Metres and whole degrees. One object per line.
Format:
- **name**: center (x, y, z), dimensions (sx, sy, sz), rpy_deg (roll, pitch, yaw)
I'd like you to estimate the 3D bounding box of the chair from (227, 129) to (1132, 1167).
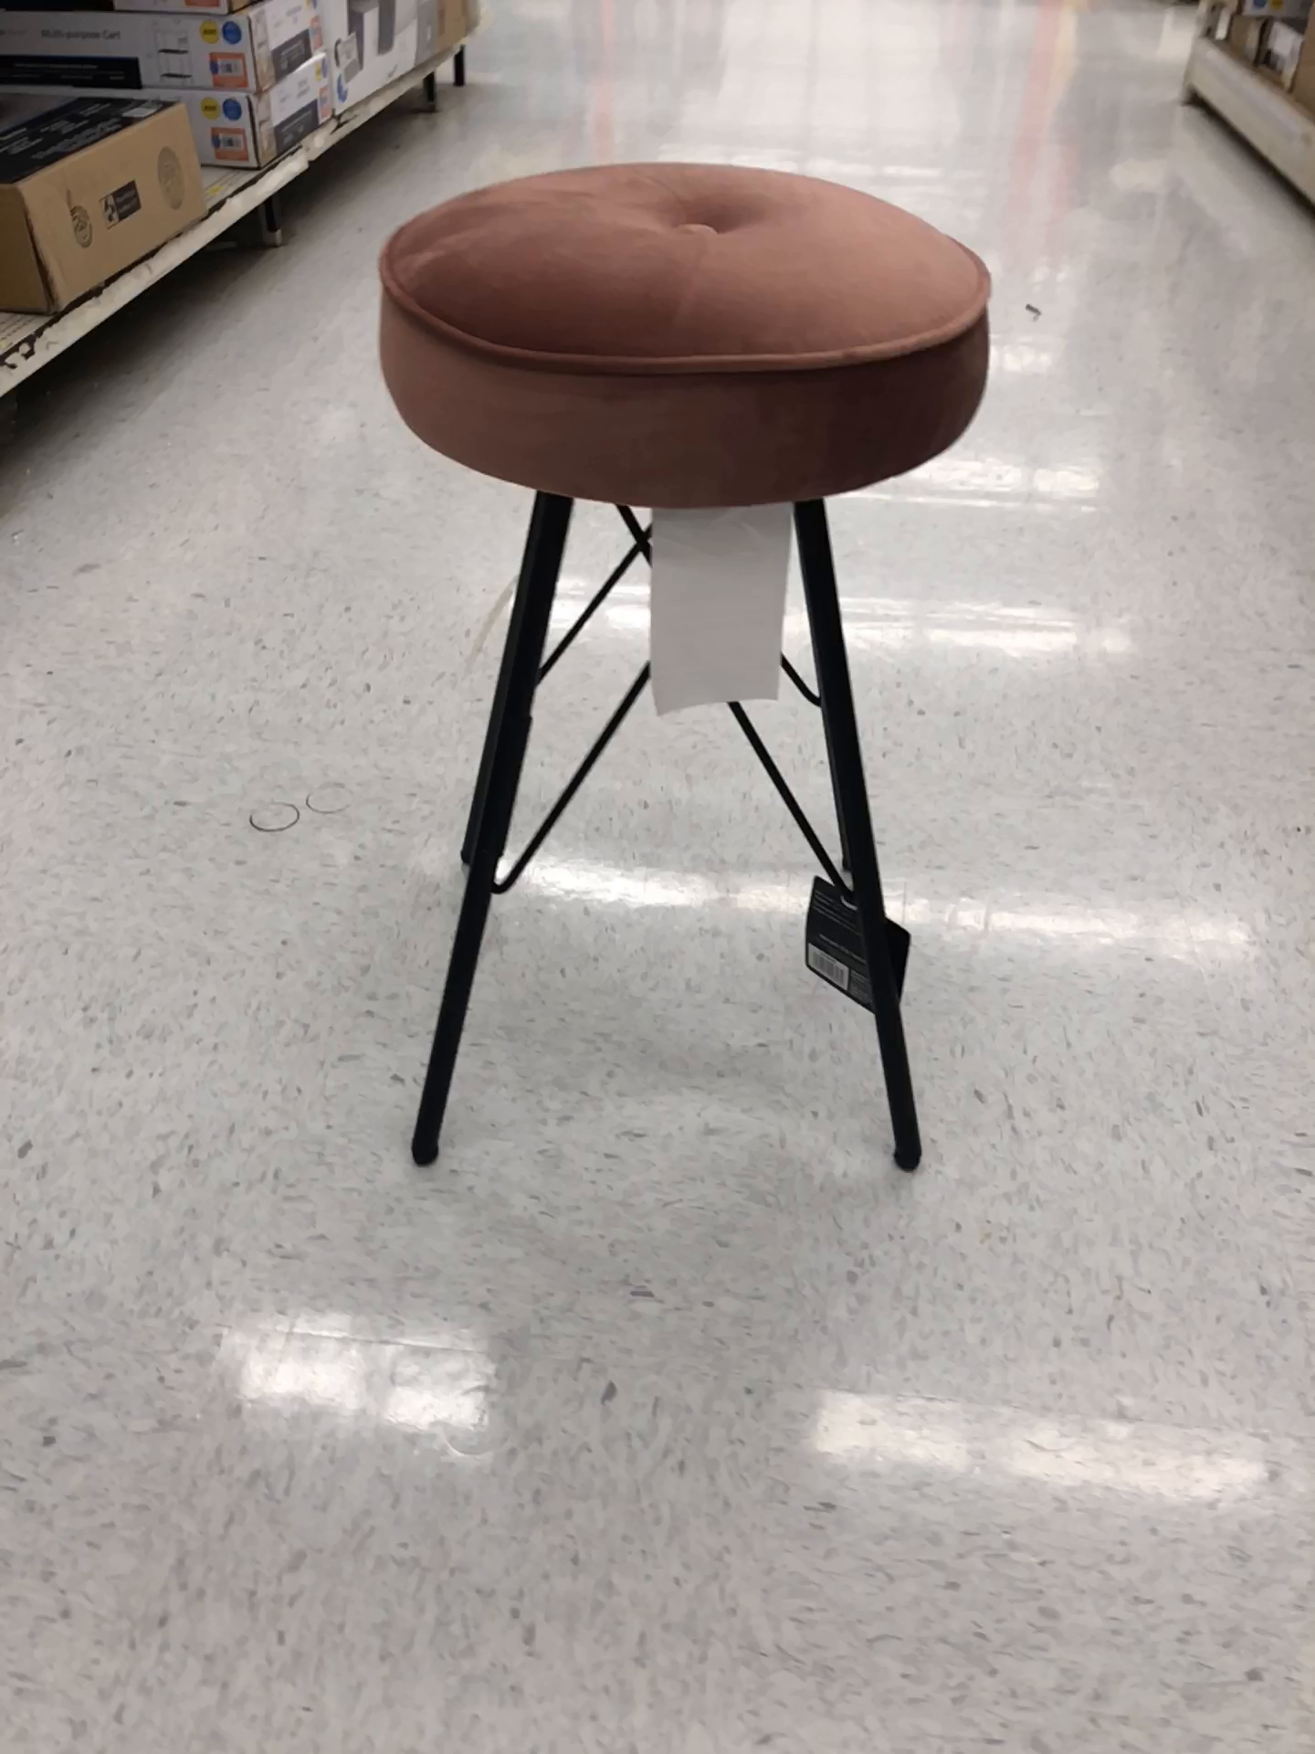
- **chair**: center (0.007, -0.133, 0.865), dimensions (0.360, 0.498, 0.351), rpy_deg (1, 37, 0)
